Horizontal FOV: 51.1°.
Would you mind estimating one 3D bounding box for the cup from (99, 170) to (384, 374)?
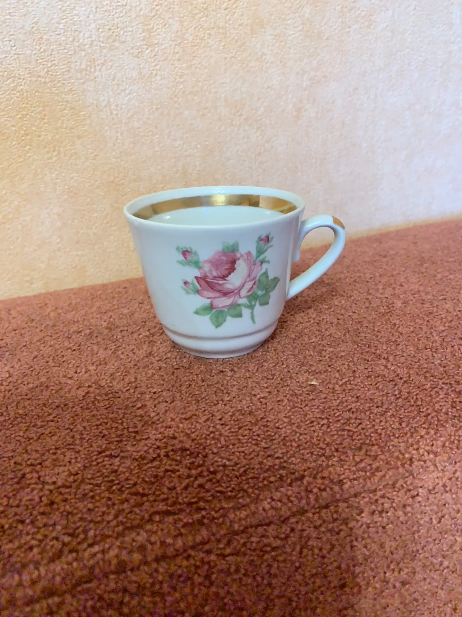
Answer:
[{"bbox_3d":[0.001,-0.019,0.183,0.085,0.047,0.067,-6,27,-6],"label":"cup"}]
